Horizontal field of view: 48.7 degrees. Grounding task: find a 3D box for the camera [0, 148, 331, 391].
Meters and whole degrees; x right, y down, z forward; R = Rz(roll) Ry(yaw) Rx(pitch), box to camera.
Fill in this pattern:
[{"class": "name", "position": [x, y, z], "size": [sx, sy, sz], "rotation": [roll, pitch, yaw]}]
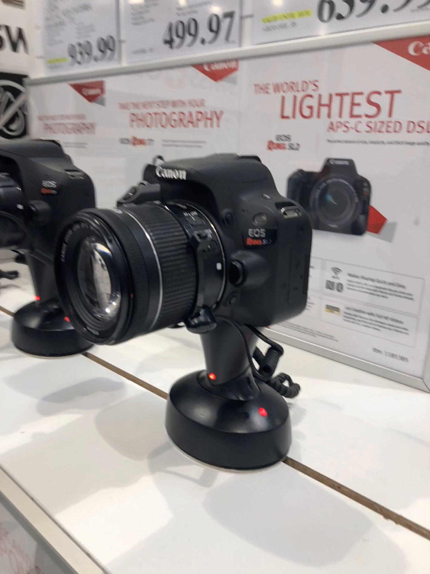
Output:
[{"class": "camera", "position": [-0.029, -0.027, 0.261], "size": [0.120, 0.090, 0.130], "rotation": [-14, 22, -42]}]
